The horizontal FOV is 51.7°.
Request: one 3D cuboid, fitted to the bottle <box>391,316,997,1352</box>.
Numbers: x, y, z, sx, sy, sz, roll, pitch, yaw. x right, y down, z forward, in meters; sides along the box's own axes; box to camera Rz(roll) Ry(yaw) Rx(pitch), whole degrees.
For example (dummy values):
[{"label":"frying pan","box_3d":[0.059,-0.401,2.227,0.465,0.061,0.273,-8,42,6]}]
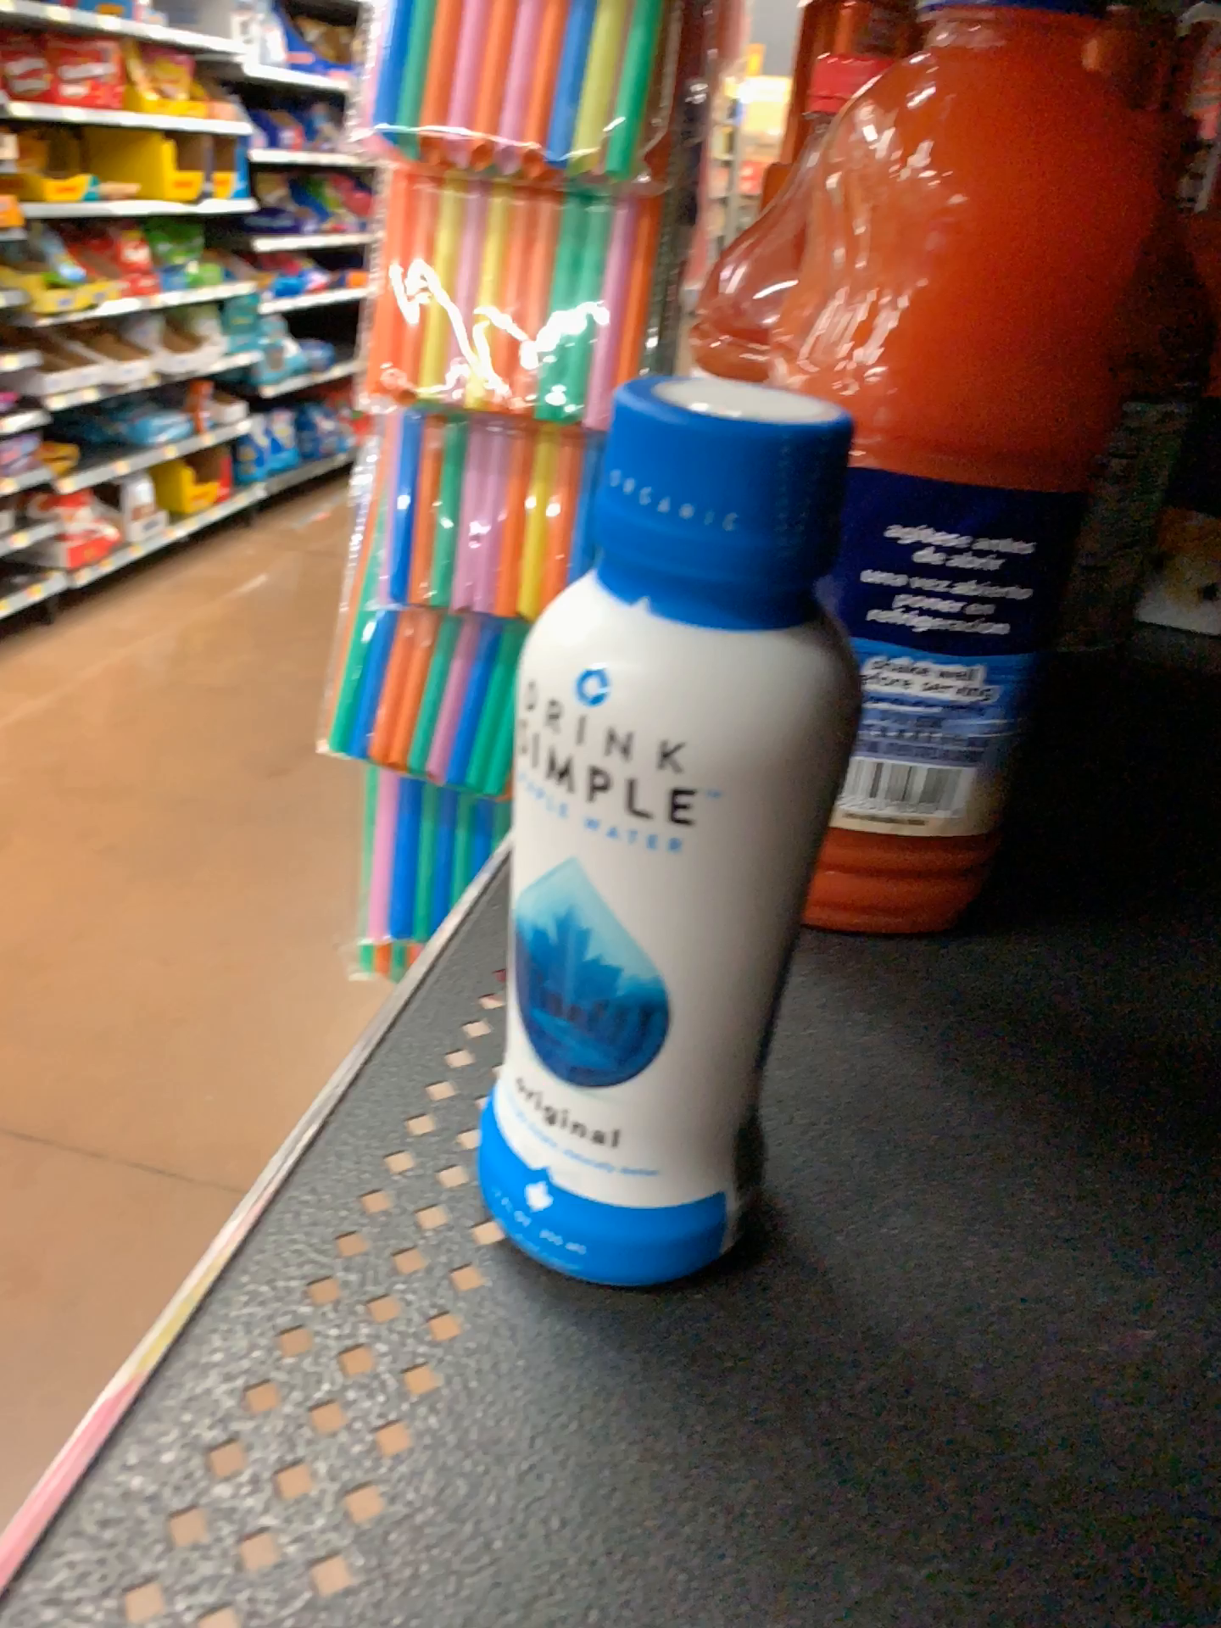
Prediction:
[{"label":"bottle","box_3d":[0.008,0.002,0.237,0.070,0.169,0.066,4,27,-2]}]
